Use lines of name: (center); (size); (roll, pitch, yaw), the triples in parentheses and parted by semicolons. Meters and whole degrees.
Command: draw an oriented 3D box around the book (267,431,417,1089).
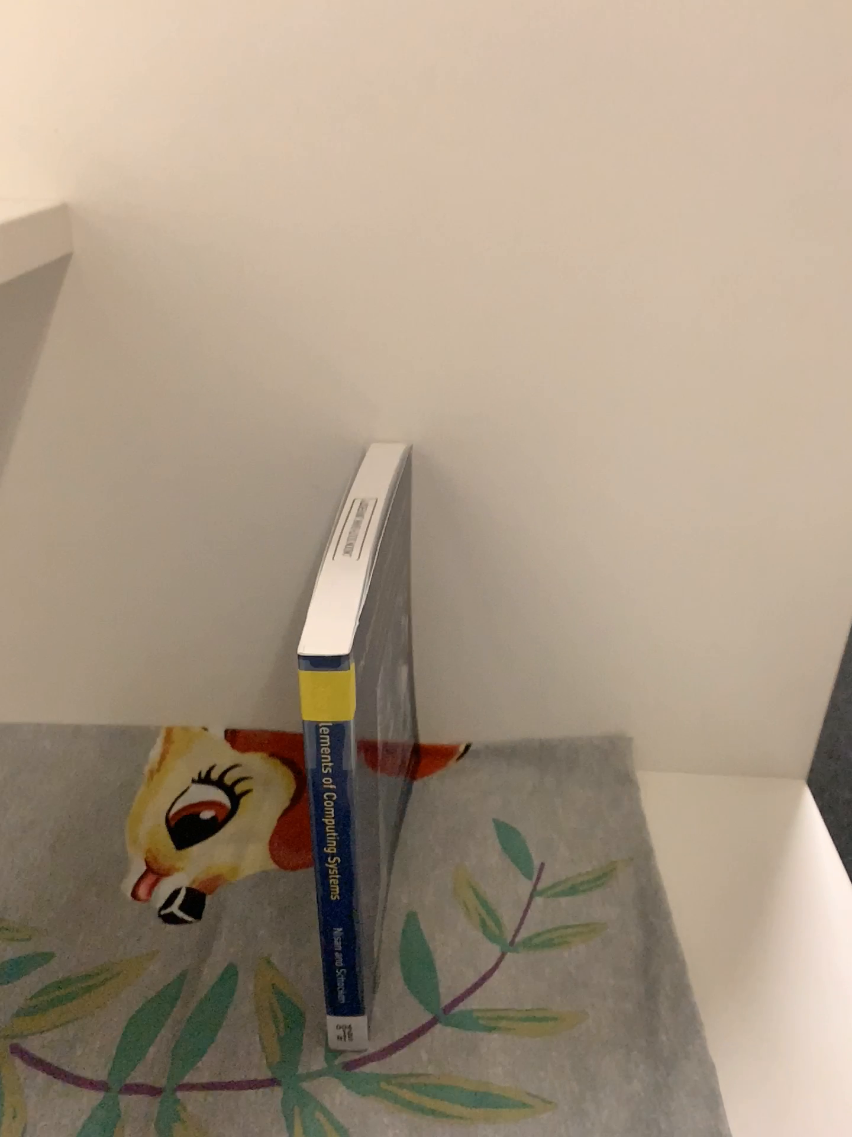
book: (-0.030, 0.083, 0.452); (0.030, 0.238, 0.222); (2, 29, 4)
